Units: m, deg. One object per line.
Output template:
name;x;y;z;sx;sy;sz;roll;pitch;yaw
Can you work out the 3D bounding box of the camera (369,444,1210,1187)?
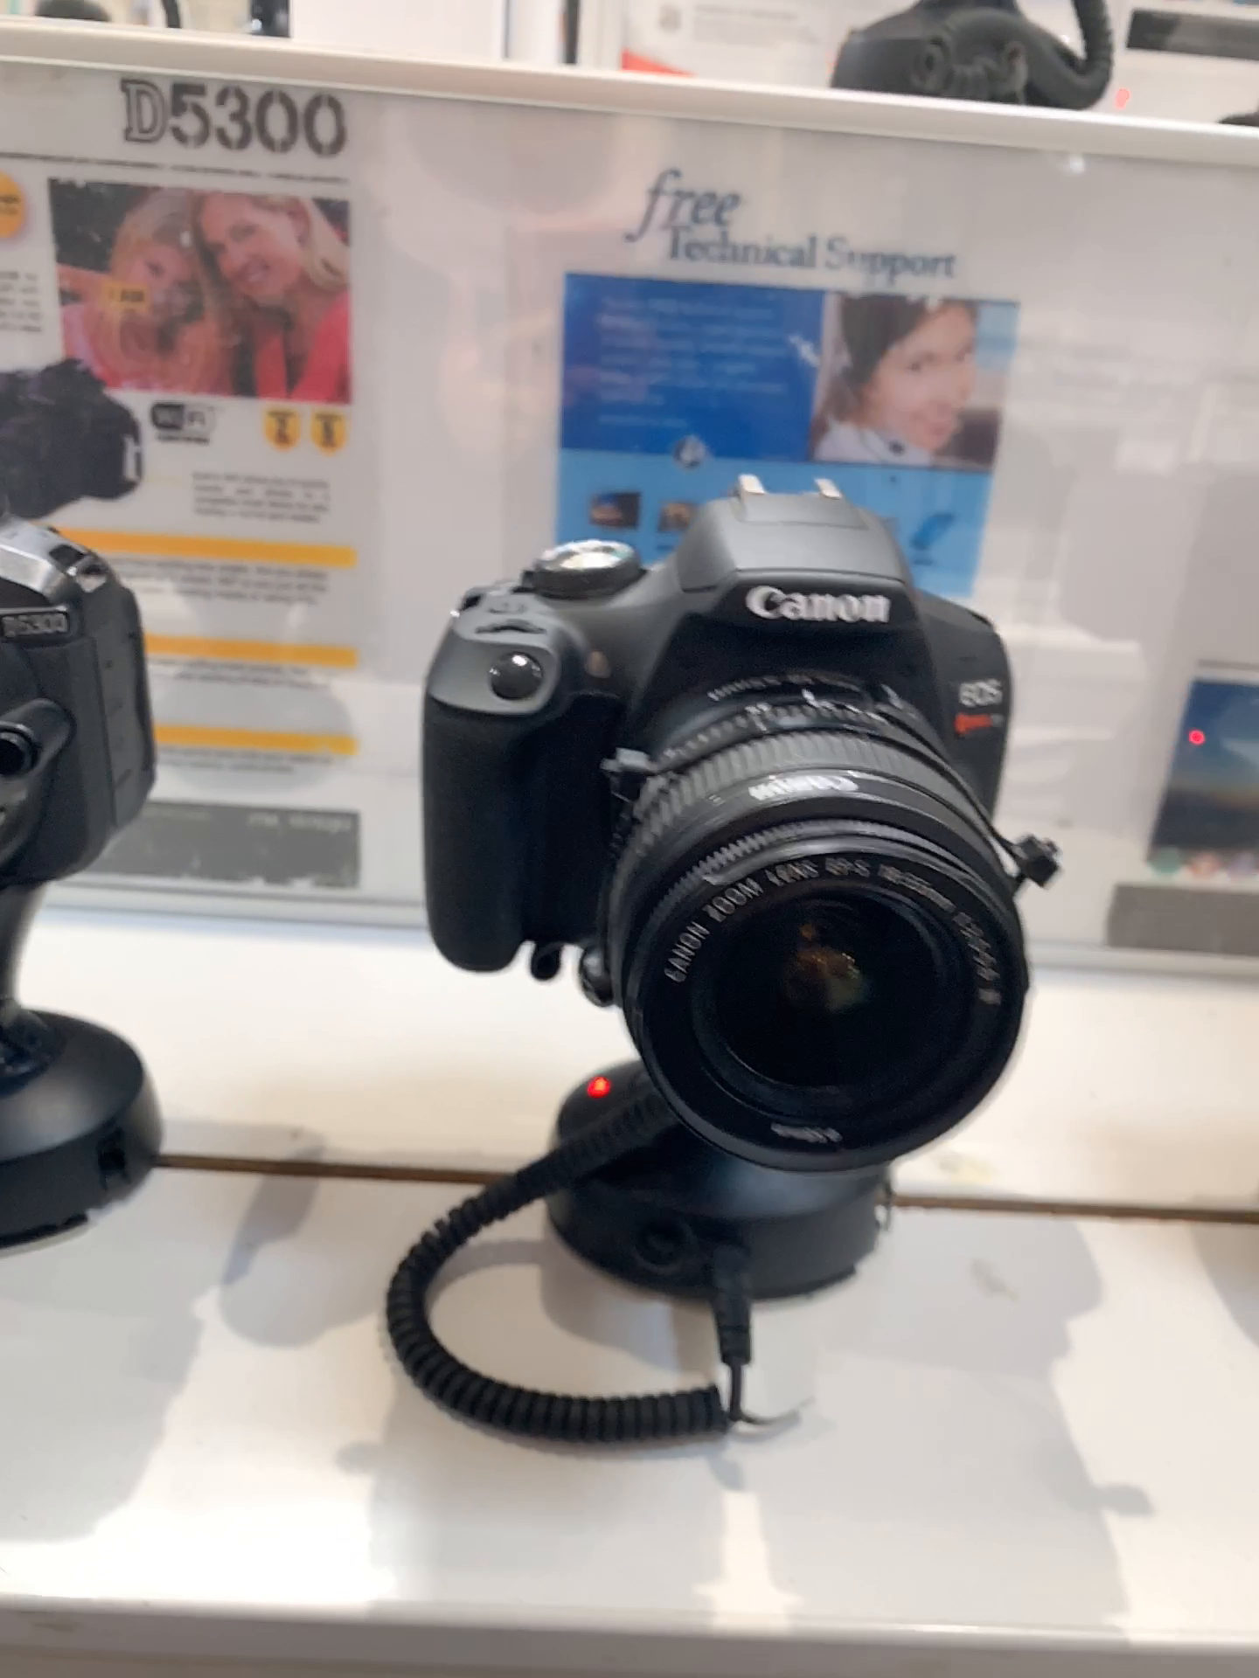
camera;0.017;-0.011;0.259;0.122;0.104;0.110;3;24;-5
